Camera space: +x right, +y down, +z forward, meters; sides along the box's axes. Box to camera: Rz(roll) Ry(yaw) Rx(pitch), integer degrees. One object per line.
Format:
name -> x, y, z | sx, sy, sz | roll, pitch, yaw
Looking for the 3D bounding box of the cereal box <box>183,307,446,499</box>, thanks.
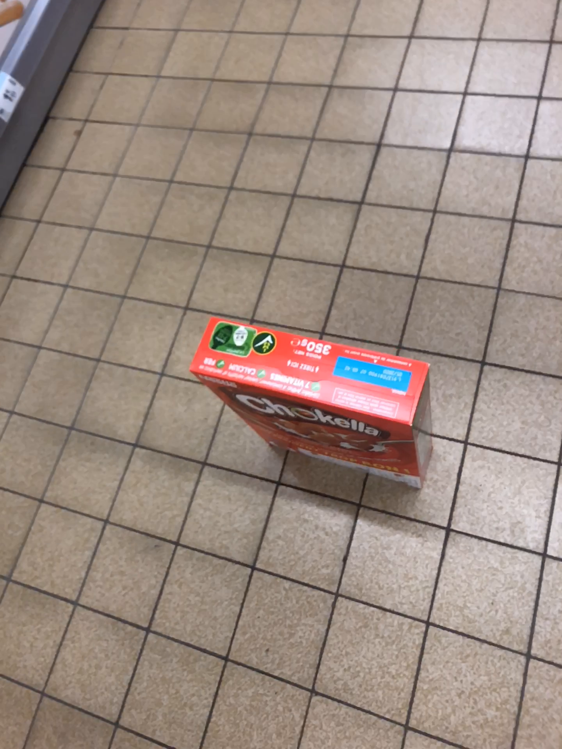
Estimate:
cereal box -> 0.053, 0.041, 0.612 | 0.200, 0.279, 0.060 | 13, 73, 19
